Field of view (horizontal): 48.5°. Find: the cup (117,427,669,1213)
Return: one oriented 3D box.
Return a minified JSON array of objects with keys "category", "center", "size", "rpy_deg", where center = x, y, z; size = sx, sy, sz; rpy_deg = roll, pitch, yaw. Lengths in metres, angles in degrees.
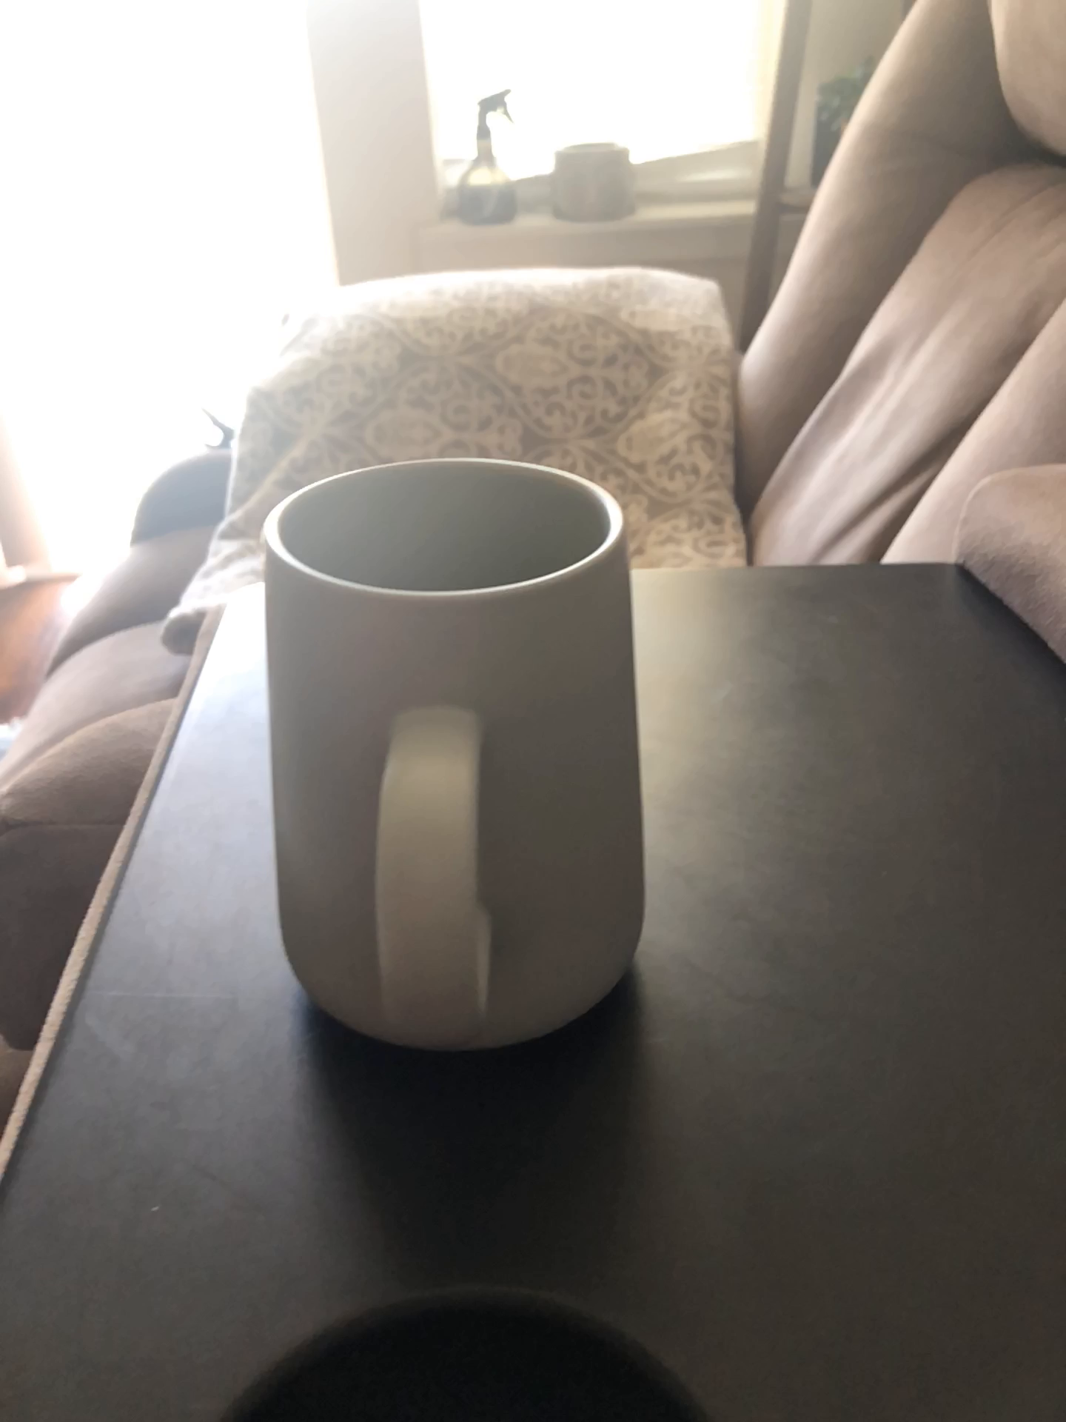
[{"category":"cup","center":[-0.018,0.016,0.273],"size":[0.086,0.121,0.137],"rpy_deg":[-2,30,2]}]
